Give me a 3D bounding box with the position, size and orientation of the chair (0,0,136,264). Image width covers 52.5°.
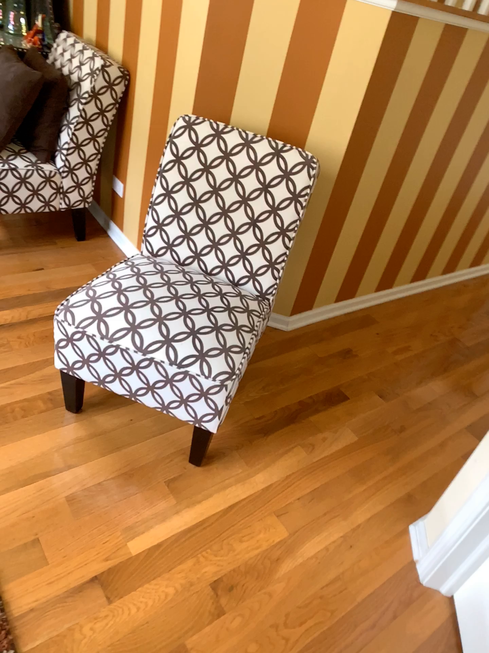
[{"bbox_3d":[-1.018,-0.837,2.191,0.799,0.833,0.594,-14,44,-36],"label":"chair"}]

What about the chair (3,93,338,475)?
[{"bbox_3d":[-0.191,-0.183,1.530,0.621,0.774,0.742,21,34,10],"label":"chair"}]
